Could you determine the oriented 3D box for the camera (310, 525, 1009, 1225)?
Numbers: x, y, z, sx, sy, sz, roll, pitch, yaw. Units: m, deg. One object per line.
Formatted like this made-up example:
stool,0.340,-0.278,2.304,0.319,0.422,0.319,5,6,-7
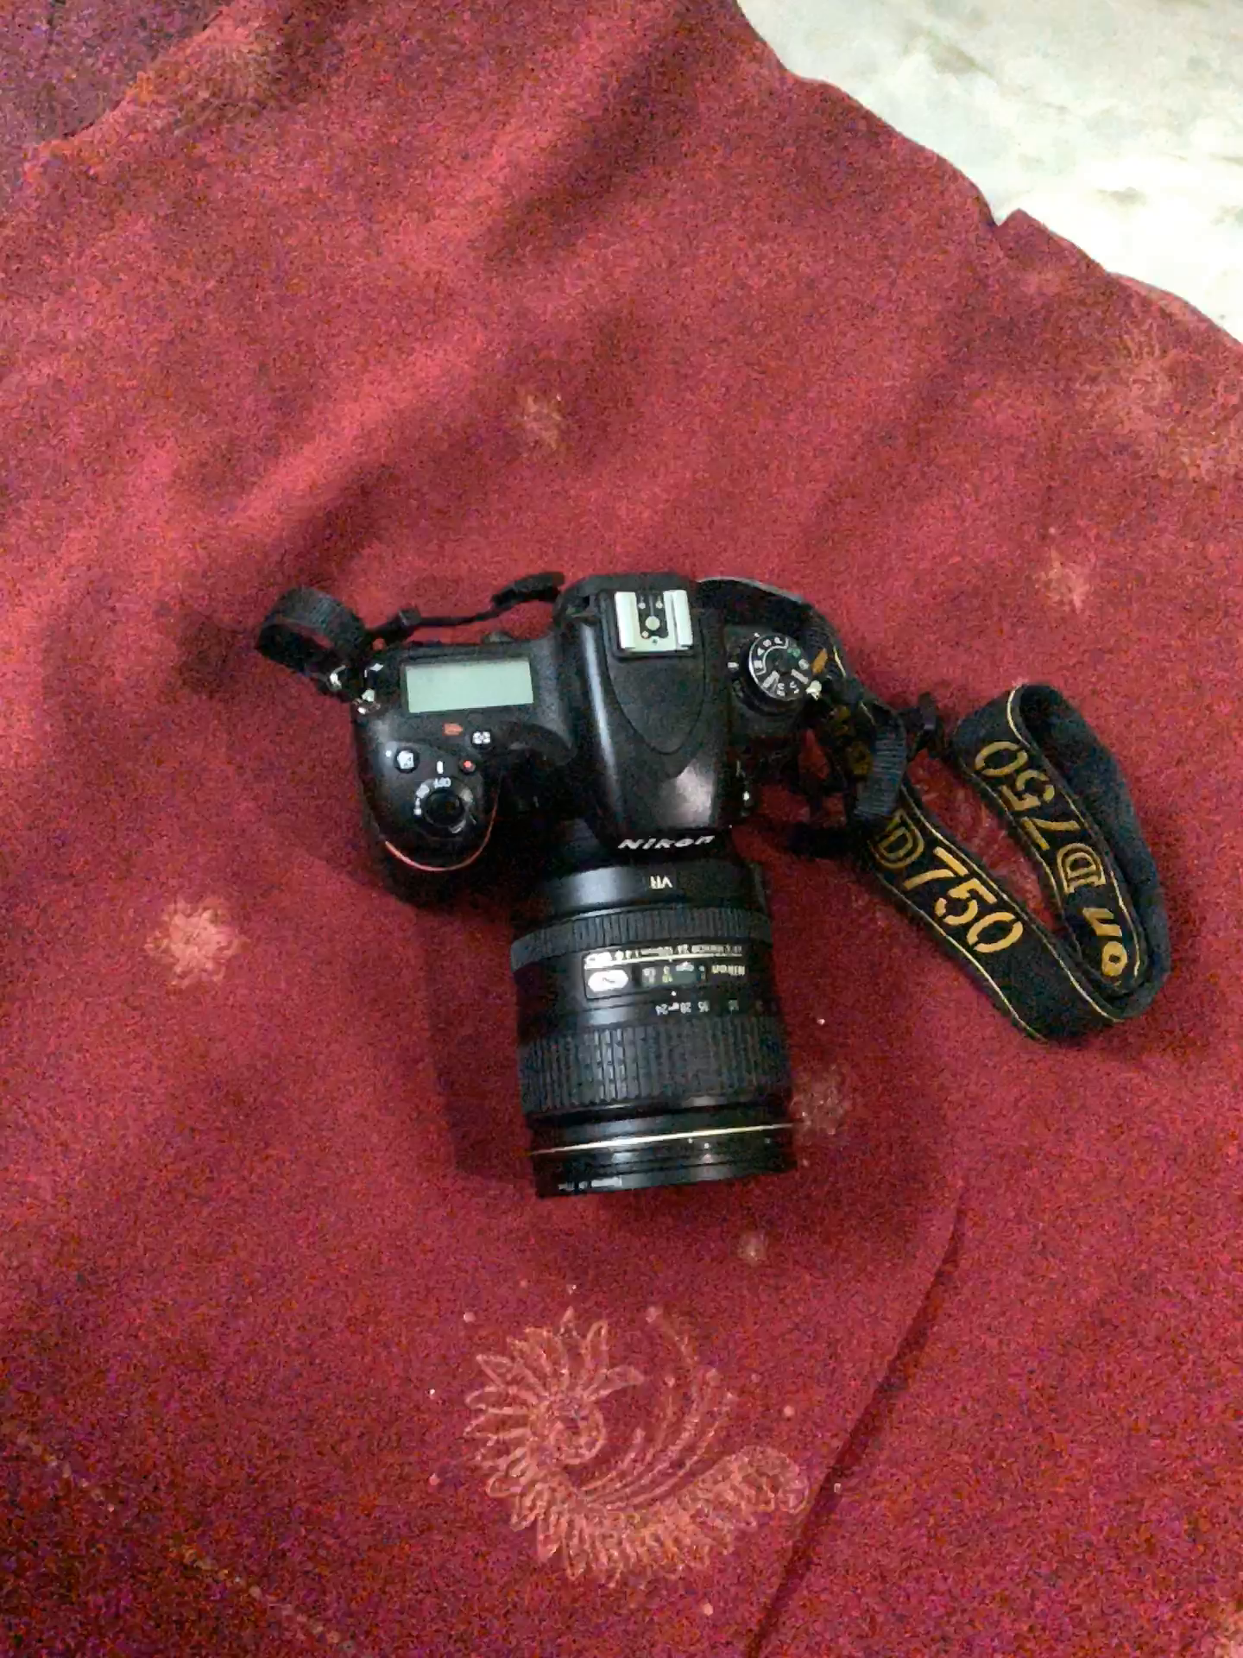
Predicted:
camera,-0.001,0.017,0.354,0.150,0.110,0.160,-4,74,-9
